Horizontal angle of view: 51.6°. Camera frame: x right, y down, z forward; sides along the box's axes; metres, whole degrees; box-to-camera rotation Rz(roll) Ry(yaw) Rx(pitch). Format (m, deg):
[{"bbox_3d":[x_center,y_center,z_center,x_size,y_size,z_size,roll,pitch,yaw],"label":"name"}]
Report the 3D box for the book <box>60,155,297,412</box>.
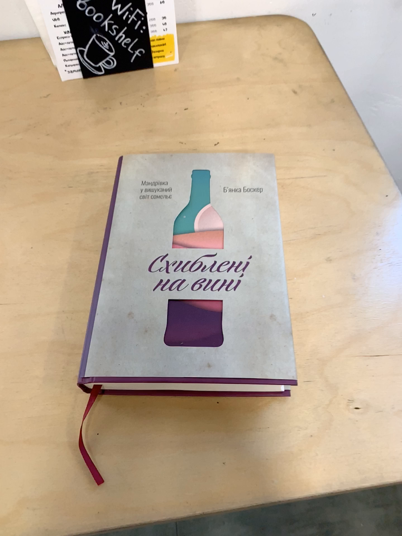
[{"bbox_3d":[-0.011,0.000,0.342,0.150,0.050,0.214,1,57,2],"label":"book"}]
